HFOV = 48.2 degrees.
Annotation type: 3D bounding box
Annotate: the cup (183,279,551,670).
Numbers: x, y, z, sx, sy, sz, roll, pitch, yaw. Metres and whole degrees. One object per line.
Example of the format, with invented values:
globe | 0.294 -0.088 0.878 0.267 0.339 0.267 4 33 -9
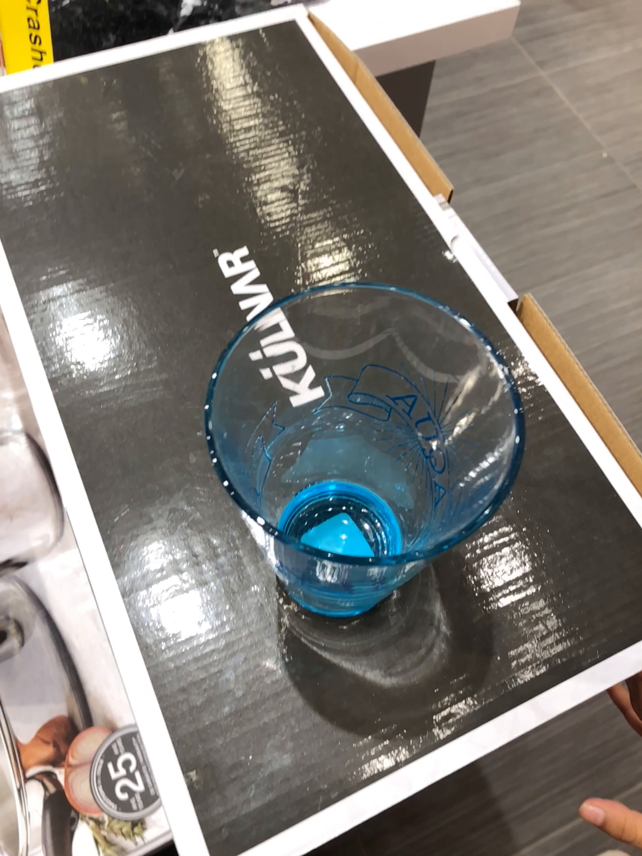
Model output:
cup | 0.005 0.022 0.221 0.080 0.110 0.080 1 63 -2
